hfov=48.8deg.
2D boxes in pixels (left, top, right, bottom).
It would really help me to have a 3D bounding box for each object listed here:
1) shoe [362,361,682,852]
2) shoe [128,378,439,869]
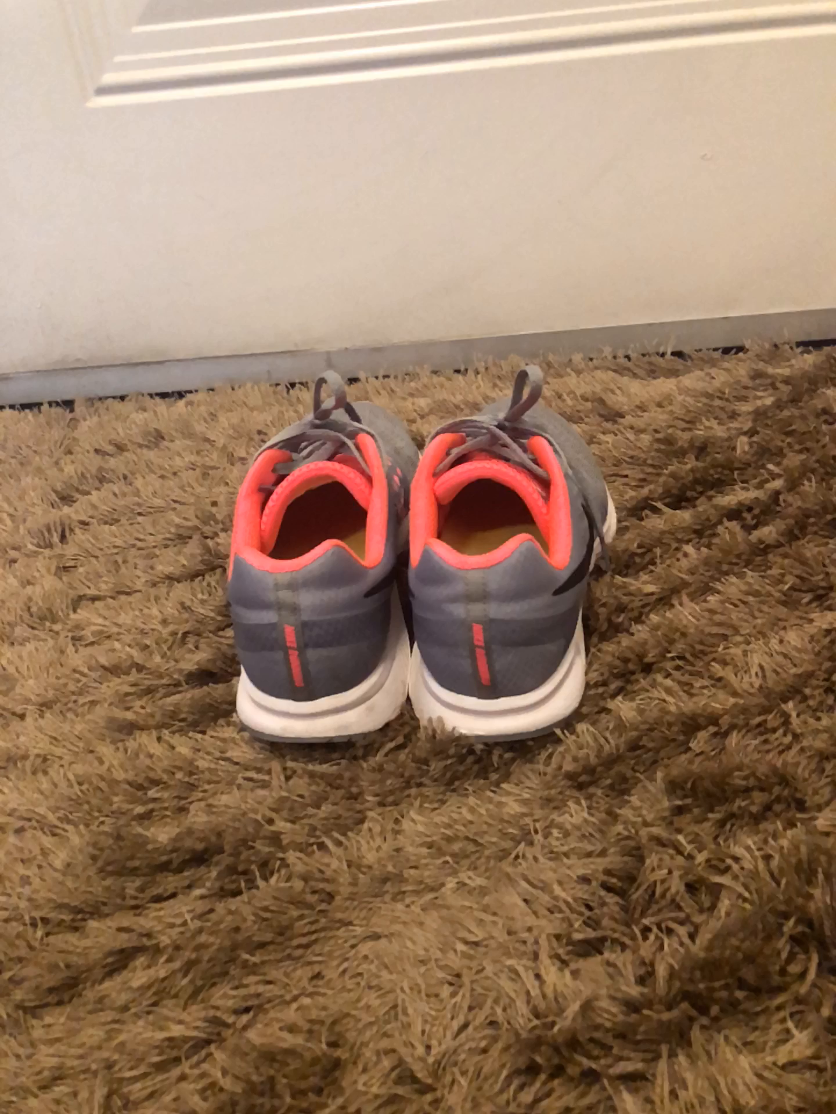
[{"bbox_3d":[0.053,0.006,0.488,0.118,0.118,0.271,-2,33,6],"label":"shoe"},{"bbox_3d":[-0.054,0.016,0.505,0.113,0.121,0.271,-4,33,2],"label":"shoe"}]
